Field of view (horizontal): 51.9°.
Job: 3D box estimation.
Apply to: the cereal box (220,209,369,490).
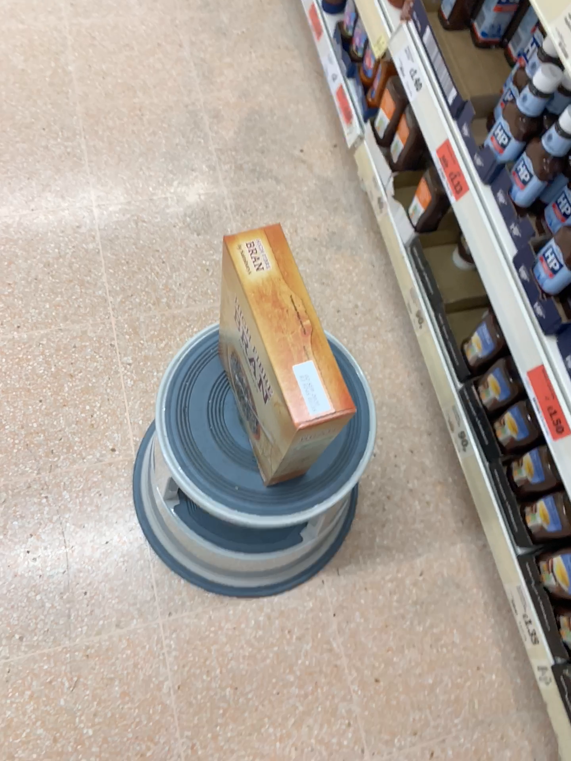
[{"bbox_3d":[-0.010,-0.012,0.638,0.060,0.279,0.201,-16,71,-13],"label":"cereal box"}]
